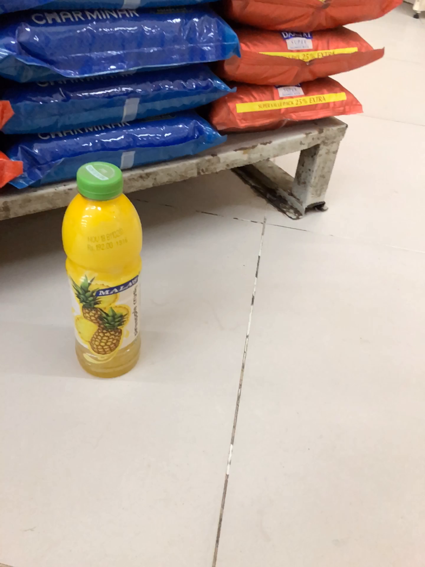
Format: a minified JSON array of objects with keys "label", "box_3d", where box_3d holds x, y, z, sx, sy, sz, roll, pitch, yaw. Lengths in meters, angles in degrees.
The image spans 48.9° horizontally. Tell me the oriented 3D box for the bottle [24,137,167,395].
[{"label":"bottle","box_3d":[-0.115,-0.008,0.488,0.090,0.248,0.090,4,43,-4]}]
